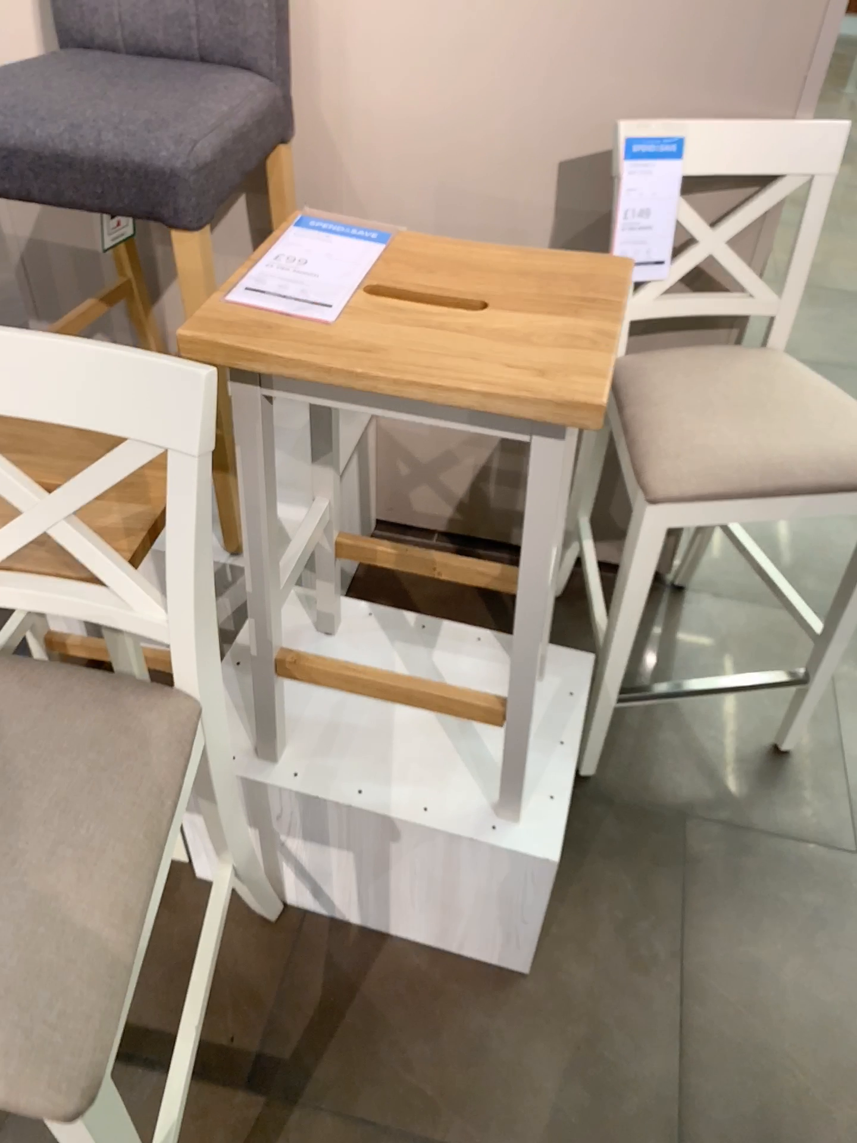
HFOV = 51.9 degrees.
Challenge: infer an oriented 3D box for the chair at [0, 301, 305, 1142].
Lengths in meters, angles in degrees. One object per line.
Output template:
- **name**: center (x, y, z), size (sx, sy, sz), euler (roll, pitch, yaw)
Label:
- **chair**: center (-0.422, 0.311, 0.886), size (0.437, 0.954, 0.506), euler (7, 42, 4)

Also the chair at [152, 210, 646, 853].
- **chair**: center (-0.017, -0.024, 1.048), size (0.397, 0.637, 0.324), euler (11, 43, 9)

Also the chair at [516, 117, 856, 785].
- **chair**: center (0.459, -0.163, 1.458), size (0.417, 0.944, 0.516), euler (-5, 43, -9)

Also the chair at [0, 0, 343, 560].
- **chair**: center (-0.447, -0.601, 1.352), size (0.467, 0.984, 0.536), euler (11, 43, 8)
